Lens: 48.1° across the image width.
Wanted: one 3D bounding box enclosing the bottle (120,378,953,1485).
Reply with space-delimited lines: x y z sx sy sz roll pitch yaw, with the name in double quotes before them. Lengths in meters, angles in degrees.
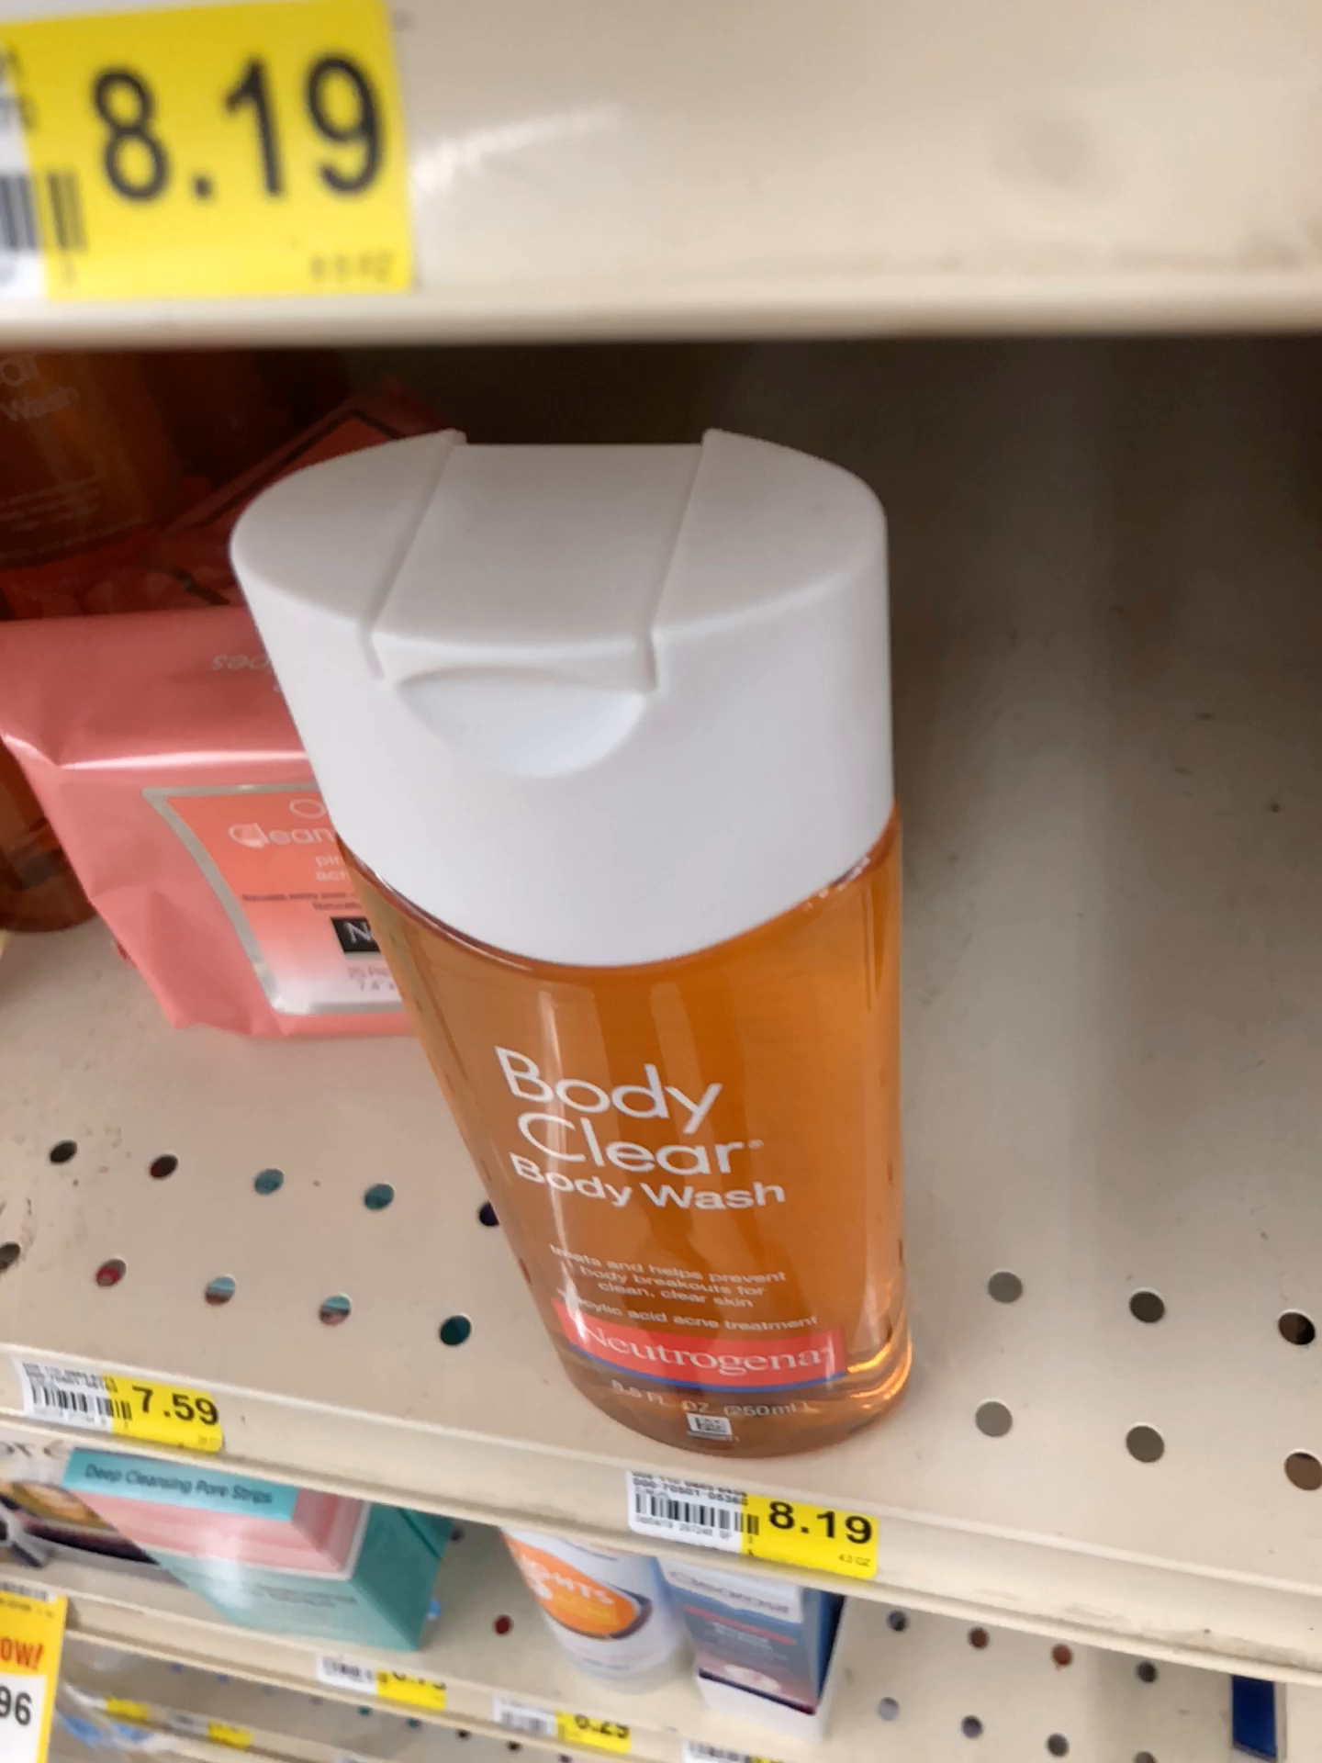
"bottle" 0.003 0.026 0.211 0.070 0.190 0.045 4 52 14
